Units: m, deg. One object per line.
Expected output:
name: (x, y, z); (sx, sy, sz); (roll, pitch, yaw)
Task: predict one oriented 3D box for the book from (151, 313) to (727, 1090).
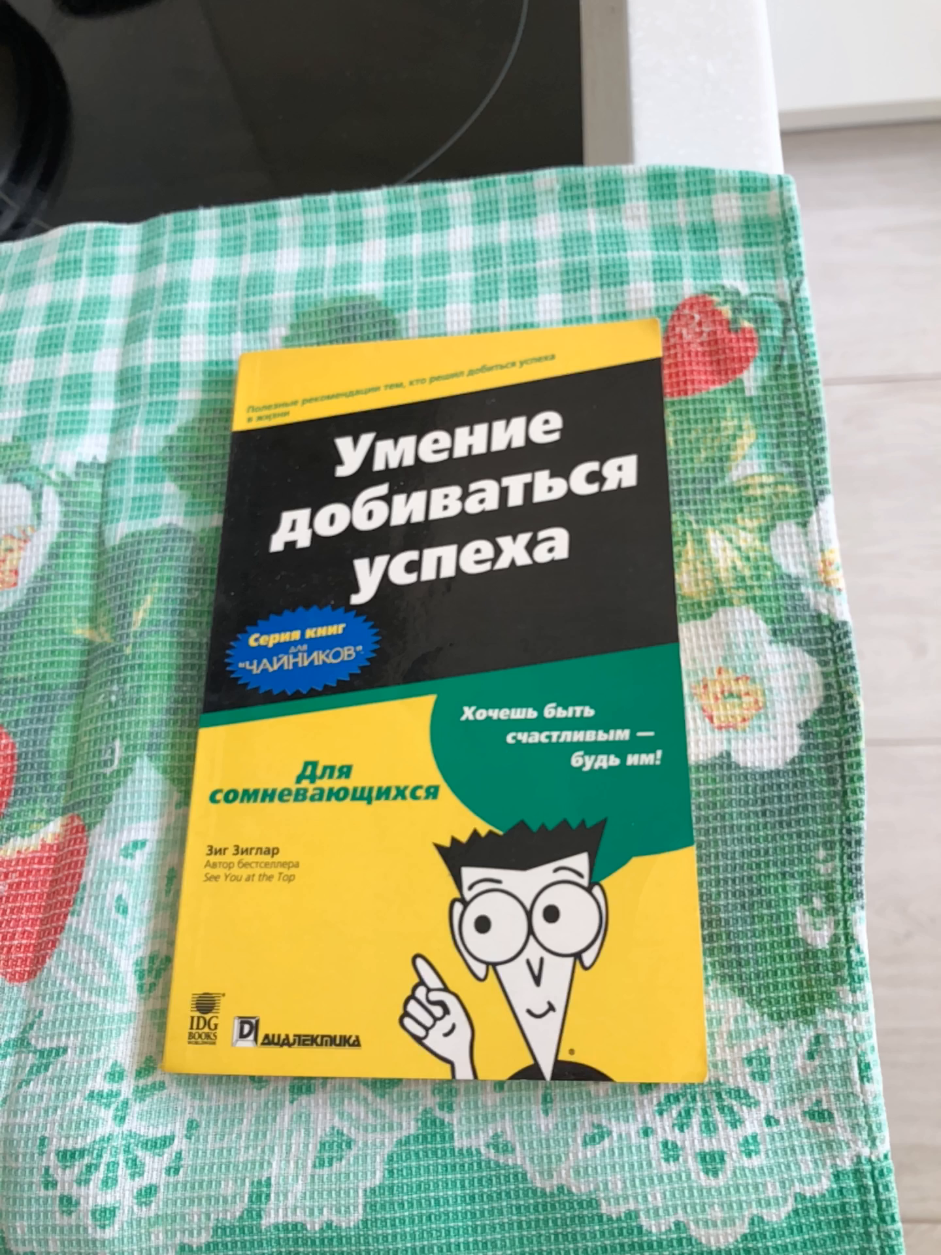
book: (-0.006, 0.010, 0.240); (0.113, 0.017, 0.172); (-3, 68, 10)
